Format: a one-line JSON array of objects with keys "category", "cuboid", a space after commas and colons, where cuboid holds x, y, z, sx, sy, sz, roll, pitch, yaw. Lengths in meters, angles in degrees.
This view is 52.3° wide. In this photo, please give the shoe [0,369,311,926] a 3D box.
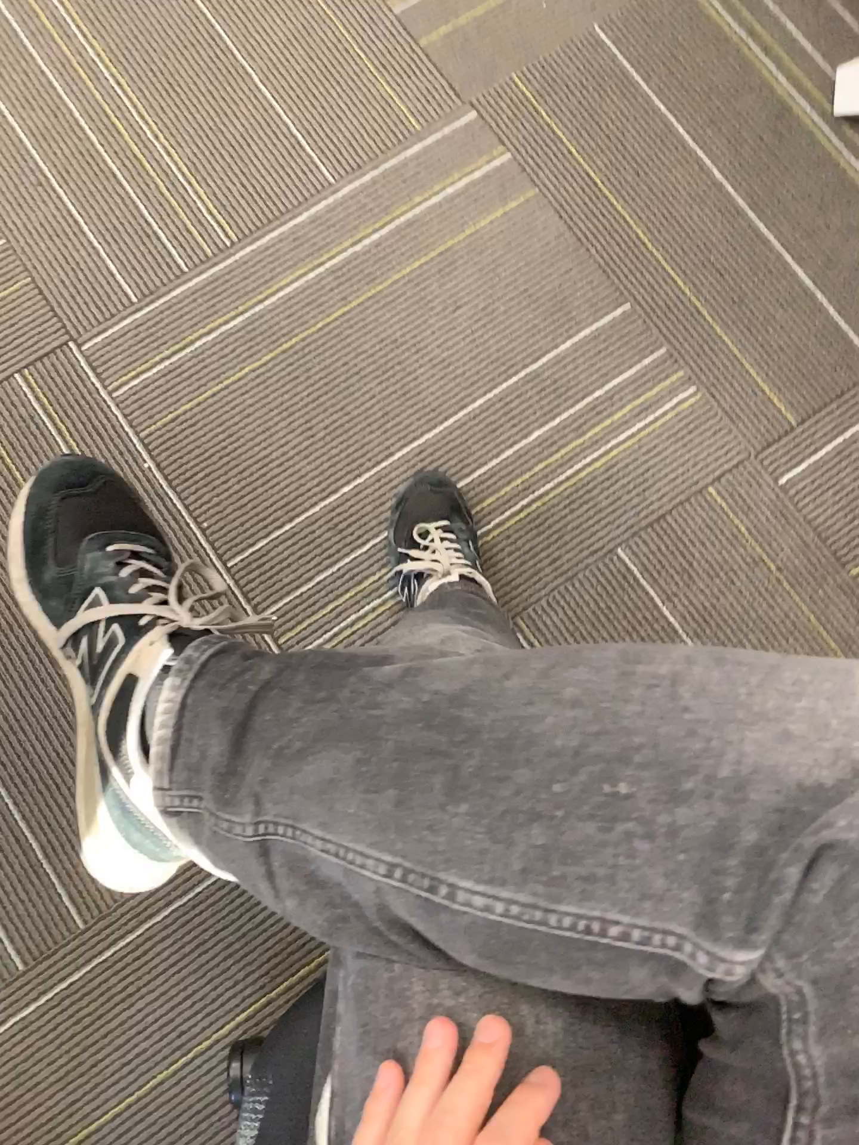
[{"category": "shoe", "cuboid": [-0.195, 0.048, 0.564, 0.133, 0.115, 0.304, -21, 77, 32]}]

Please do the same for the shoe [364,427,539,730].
[{"category": "shoe", "cuboid": [0.020, 0.013, 0.987, 0.115, 0.133, 0.304, -13, 79, -3]}]
